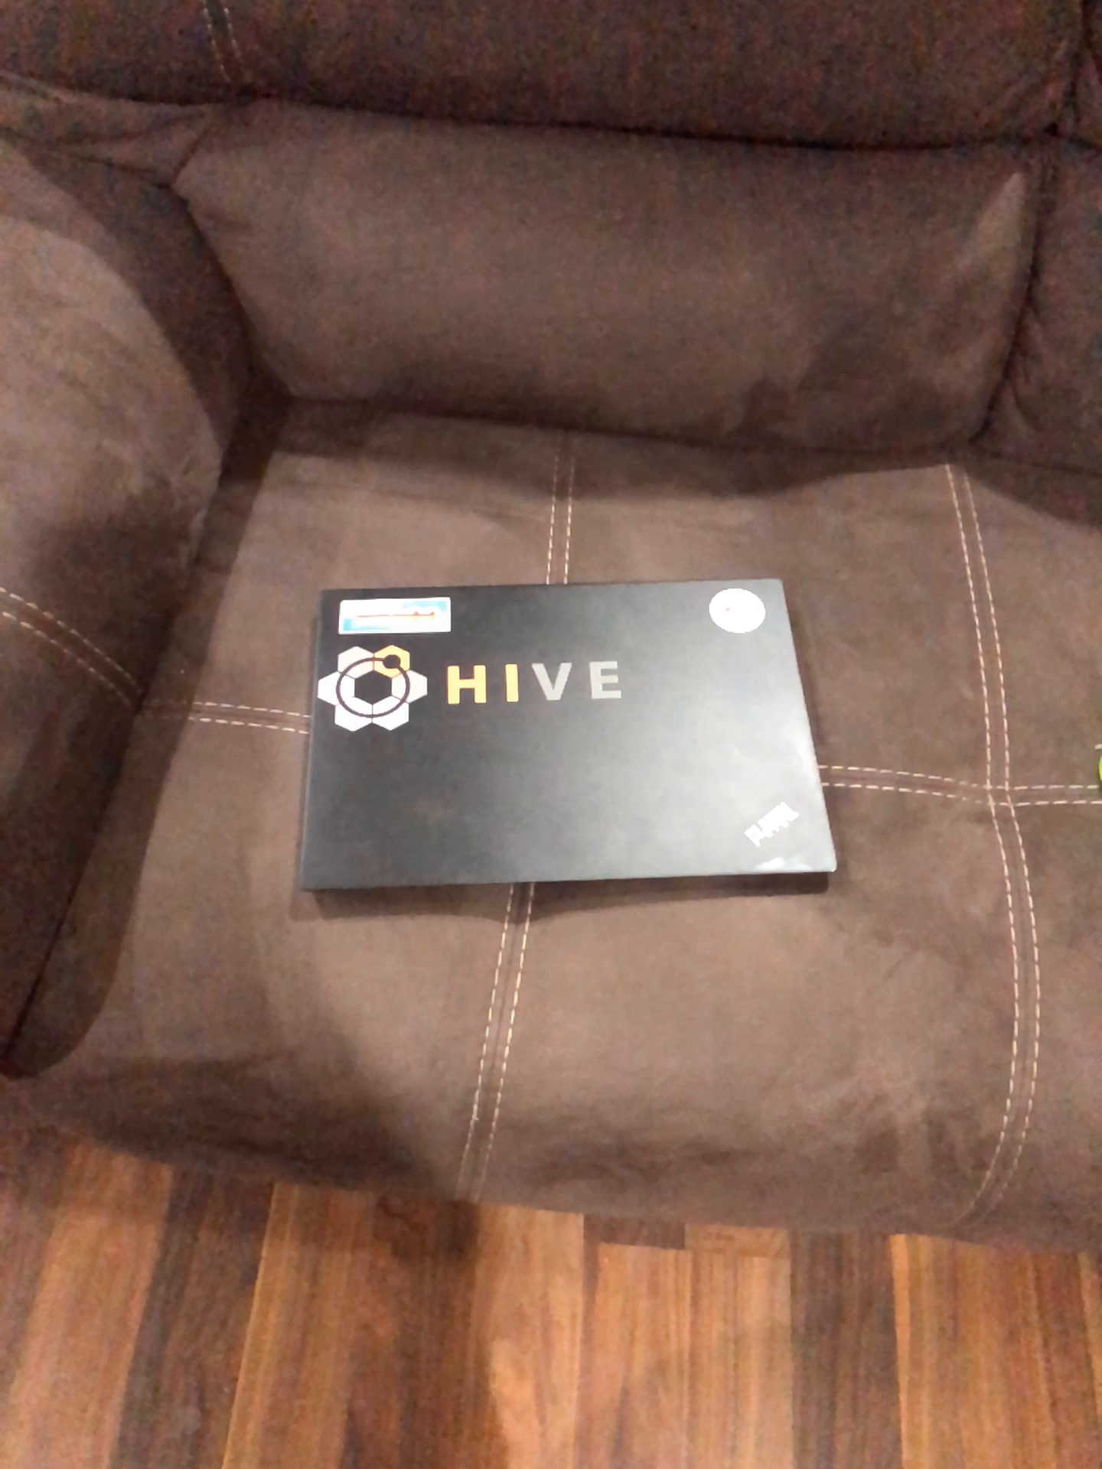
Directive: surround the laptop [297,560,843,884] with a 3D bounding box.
[{"bbox_3d":[0.007,-0.016,0.799,0.328,0.019,0.236,-2,57,-1],"label":"laptop"}]
